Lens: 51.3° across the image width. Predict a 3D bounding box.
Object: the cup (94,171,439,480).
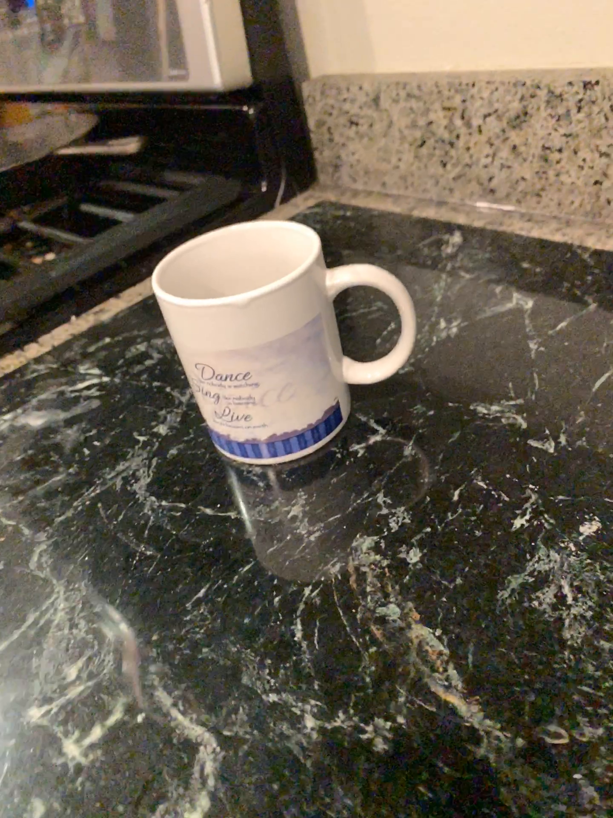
[{"bbox_3d":[-0.010,-0.040,0.312,0.130,0.099,0.091,-8,37,9],"label":"cup"}]
